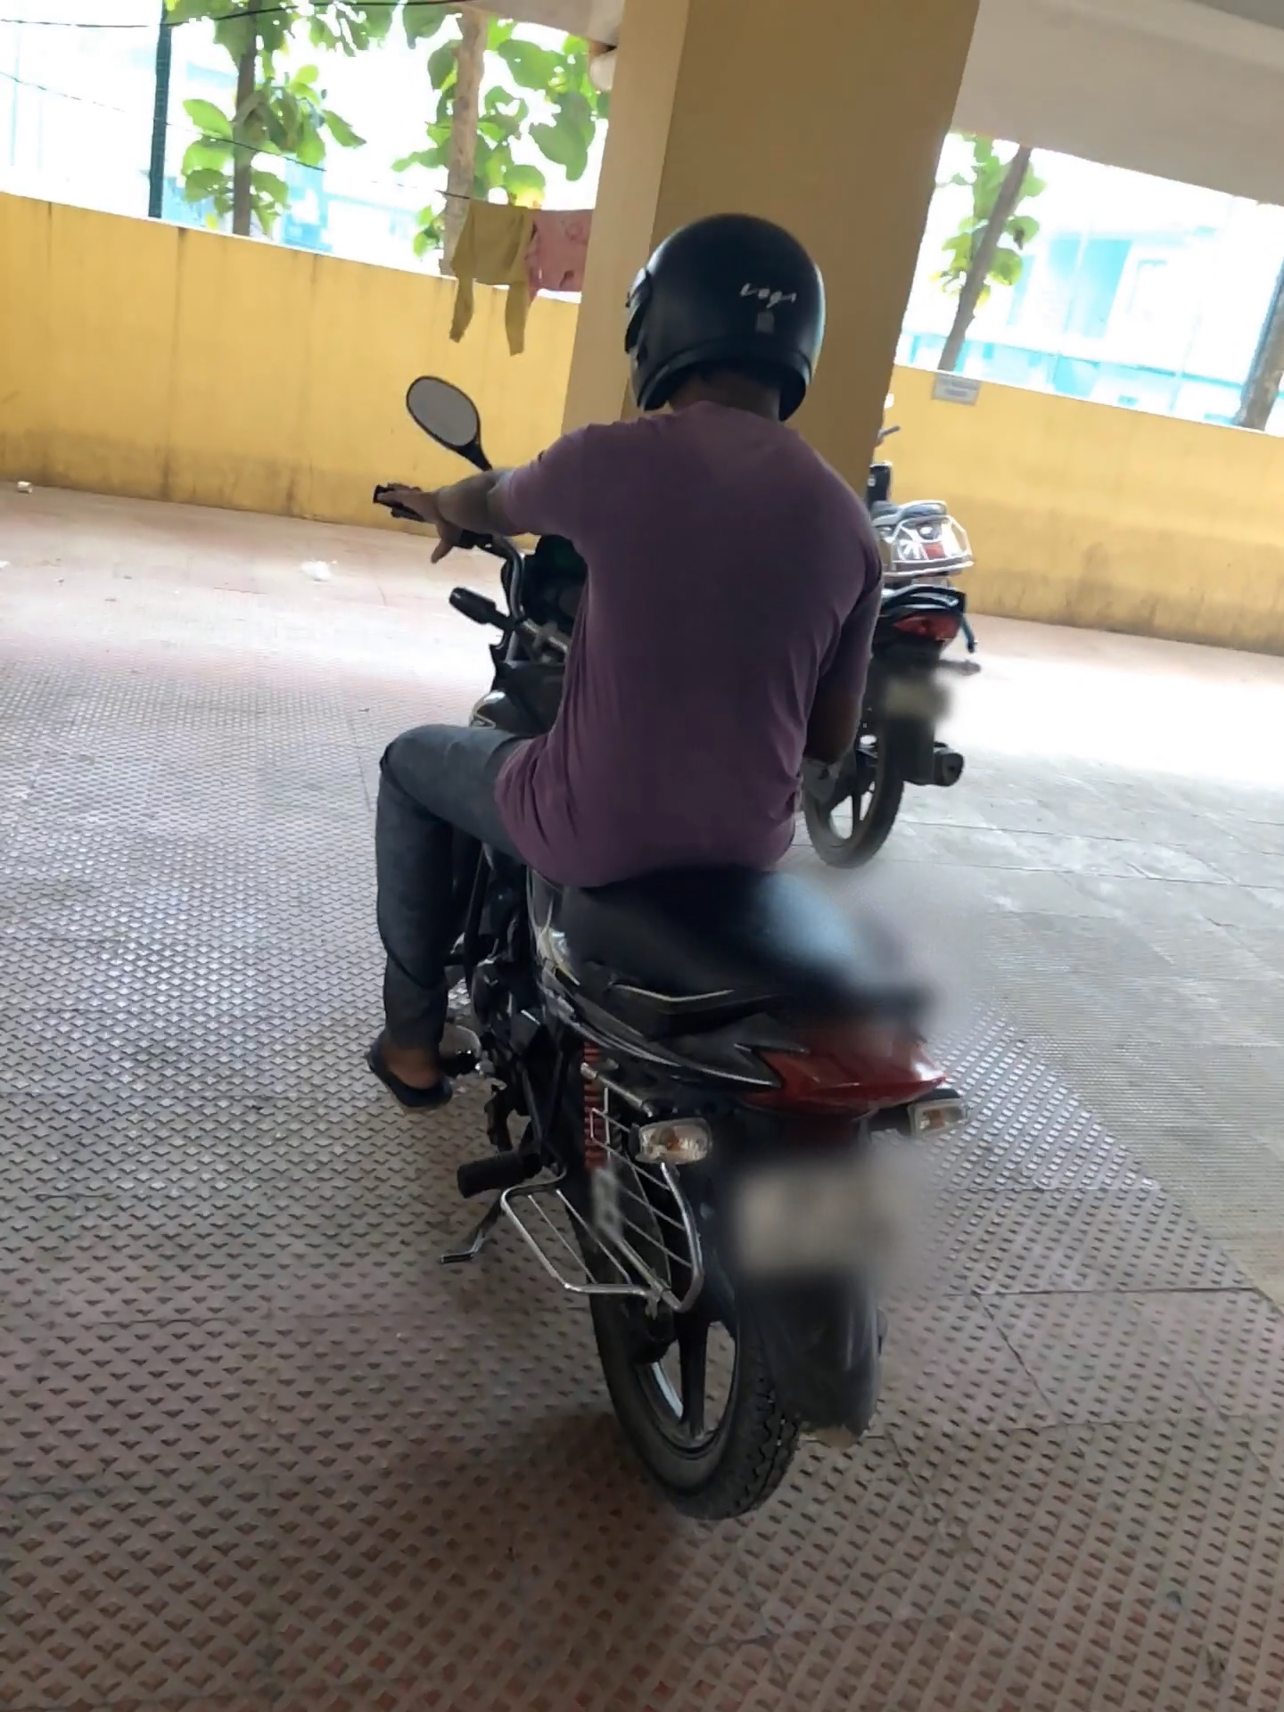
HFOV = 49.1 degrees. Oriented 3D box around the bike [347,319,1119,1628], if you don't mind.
[{"bbox_3d":[-0.069,-0.046,2.182,0.632,1.063,1.653,5,28,-16],"label":"bike"}]
